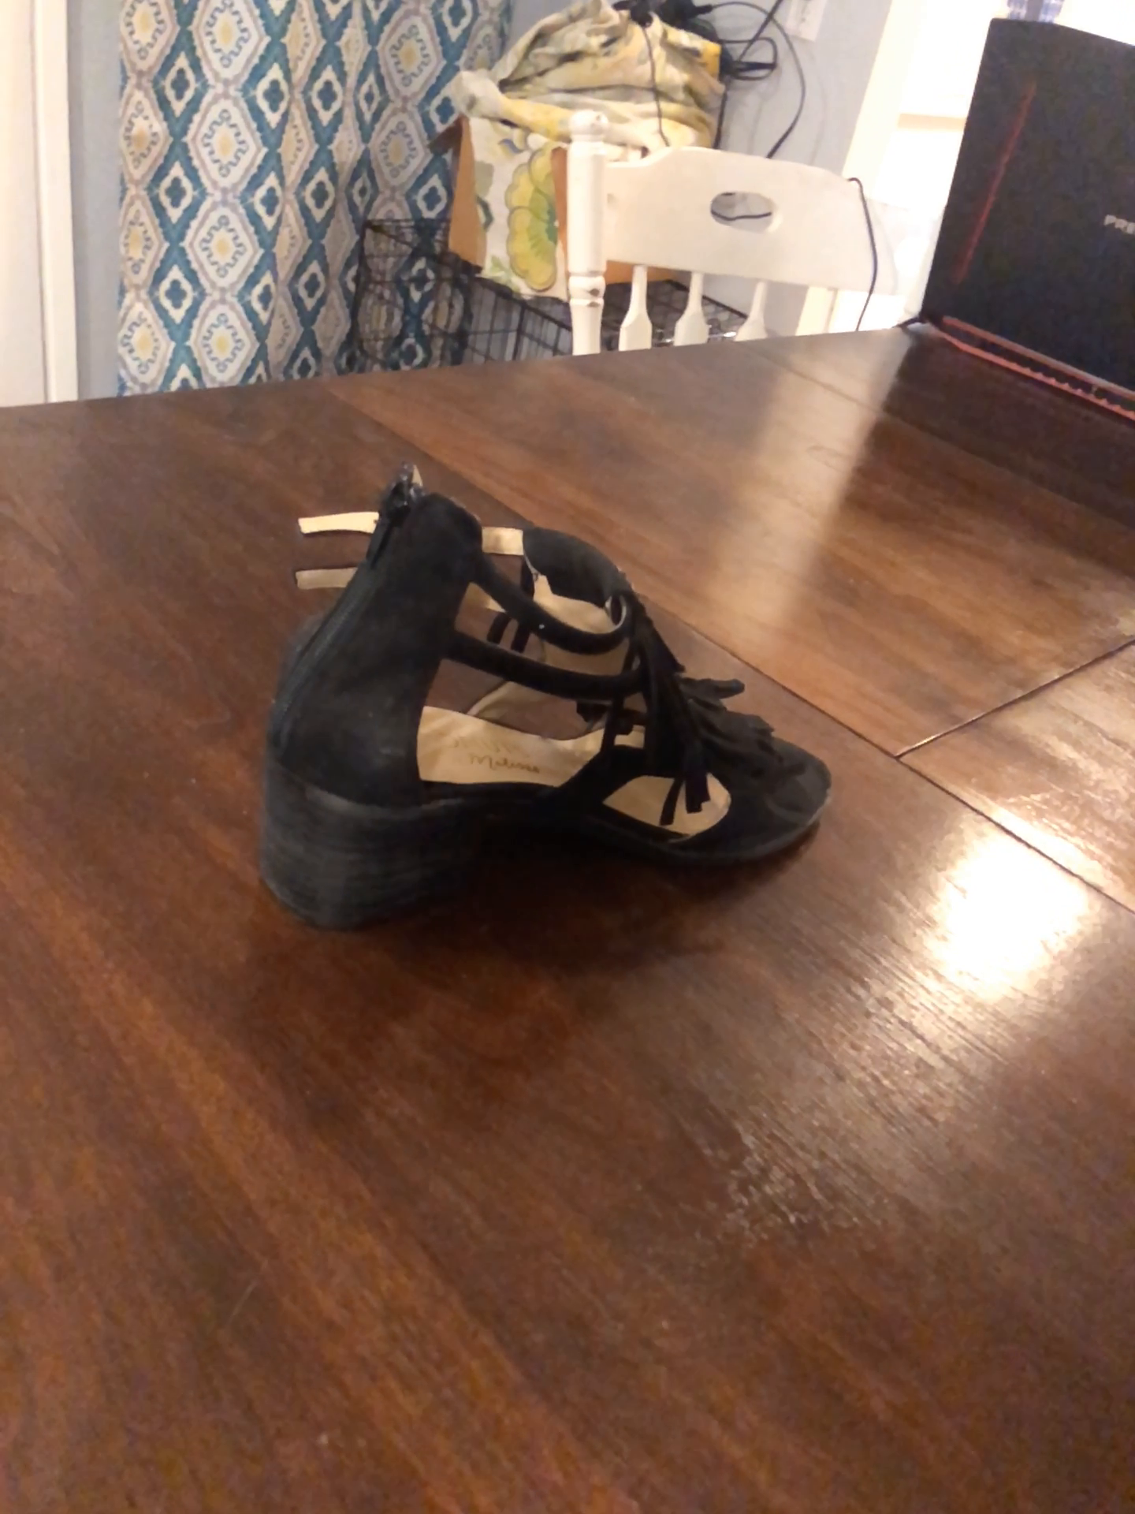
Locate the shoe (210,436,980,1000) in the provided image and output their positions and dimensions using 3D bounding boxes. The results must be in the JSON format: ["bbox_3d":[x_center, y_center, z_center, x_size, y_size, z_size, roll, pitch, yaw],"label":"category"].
[{"bbox_3d":[0.006,-0.026,0.460,0.240,0.149,0.100,-9,39,-30],"label":"shoe"}]
